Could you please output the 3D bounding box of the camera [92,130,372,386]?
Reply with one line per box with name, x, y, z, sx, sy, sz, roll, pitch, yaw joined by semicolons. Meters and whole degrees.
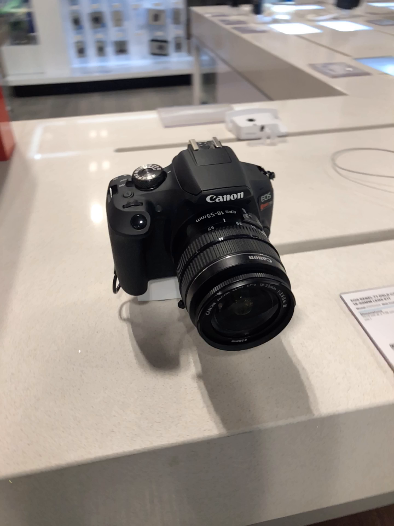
camera;0.008;-0.018;0.305;0.140;0.089;0.151;-9;36;-11
